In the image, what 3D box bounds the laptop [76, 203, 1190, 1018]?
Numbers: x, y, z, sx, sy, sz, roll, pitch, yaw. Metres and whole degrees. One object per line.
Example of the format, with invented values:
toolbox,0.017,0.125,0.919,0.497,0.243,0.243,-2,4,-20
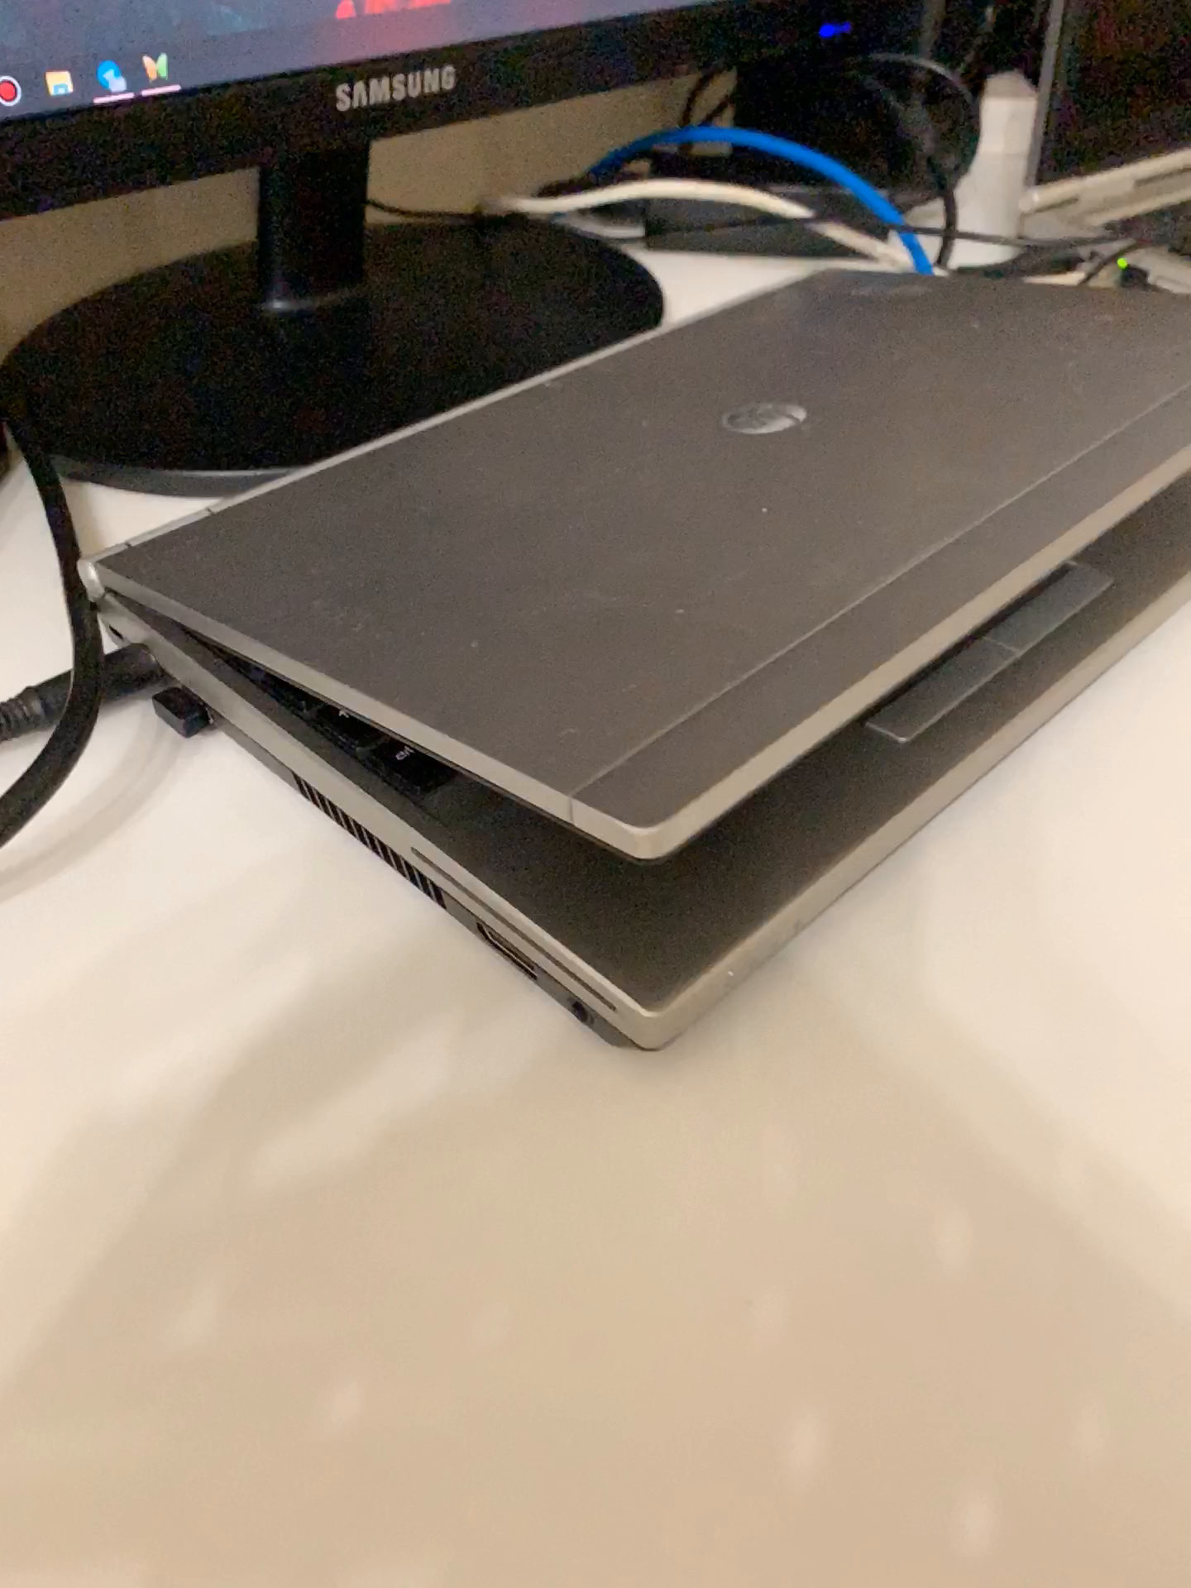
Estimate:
laptop,0.049,-0.086,0.326,0.183,0.029,0.294,35,51,30
